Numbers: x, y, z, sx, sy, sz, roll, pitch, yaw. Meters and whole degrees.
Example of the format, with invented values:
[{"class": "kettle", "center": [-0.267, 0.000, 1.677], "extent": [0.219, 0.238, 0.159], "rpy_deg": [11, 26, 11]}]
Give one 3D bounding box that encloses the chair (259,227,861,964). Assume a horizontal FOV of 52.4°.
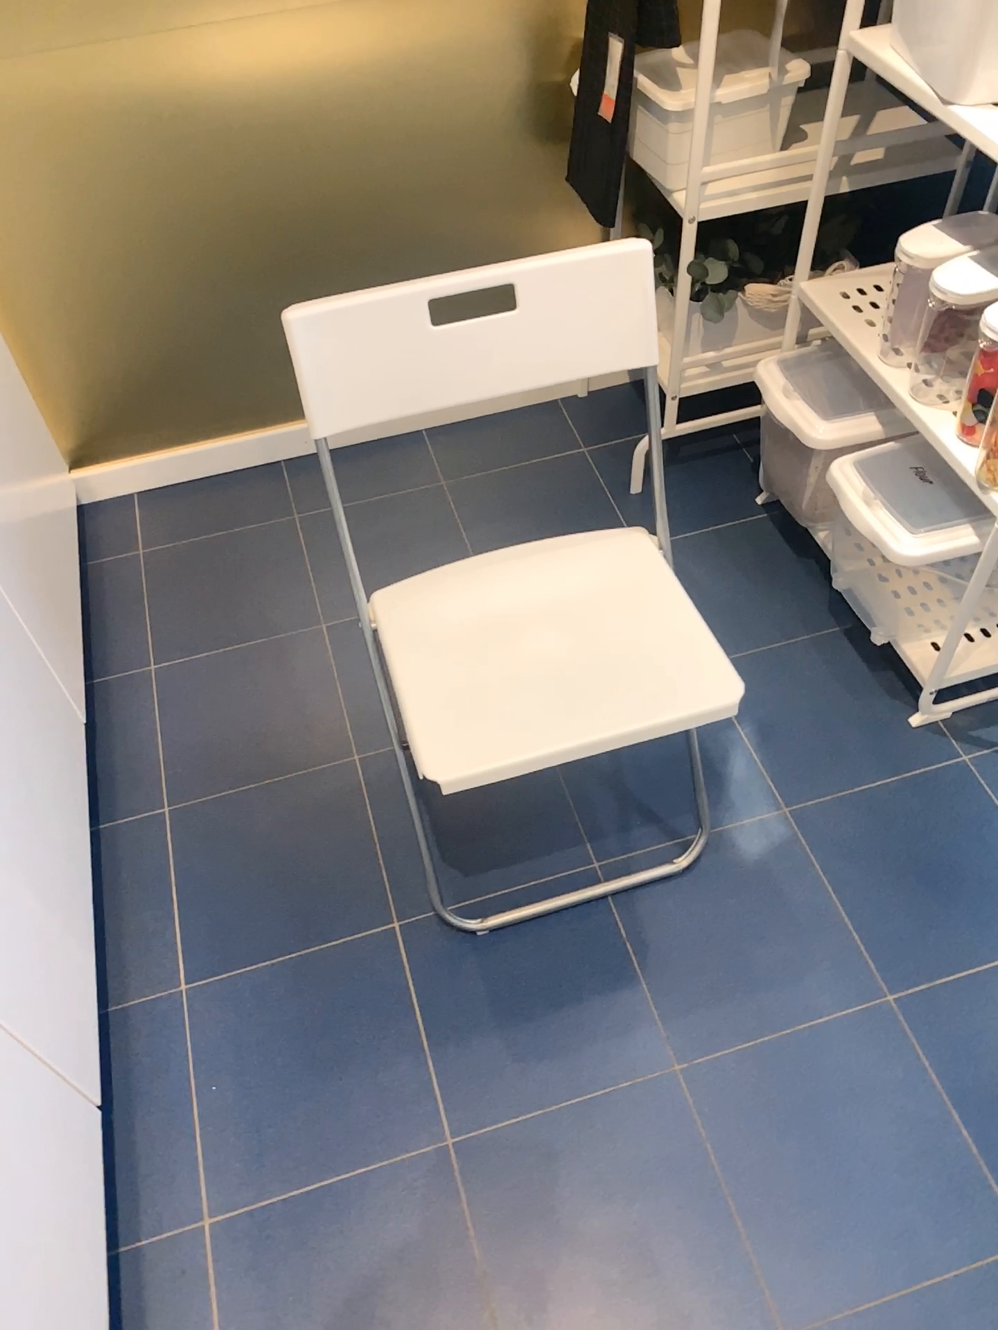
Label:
[{"class": "chair", "center": [0.044, -0.049, 1.247], "extent": [0.460, 0.708, 0.451], "rpy_deg": [-14, 51, -8]}]
